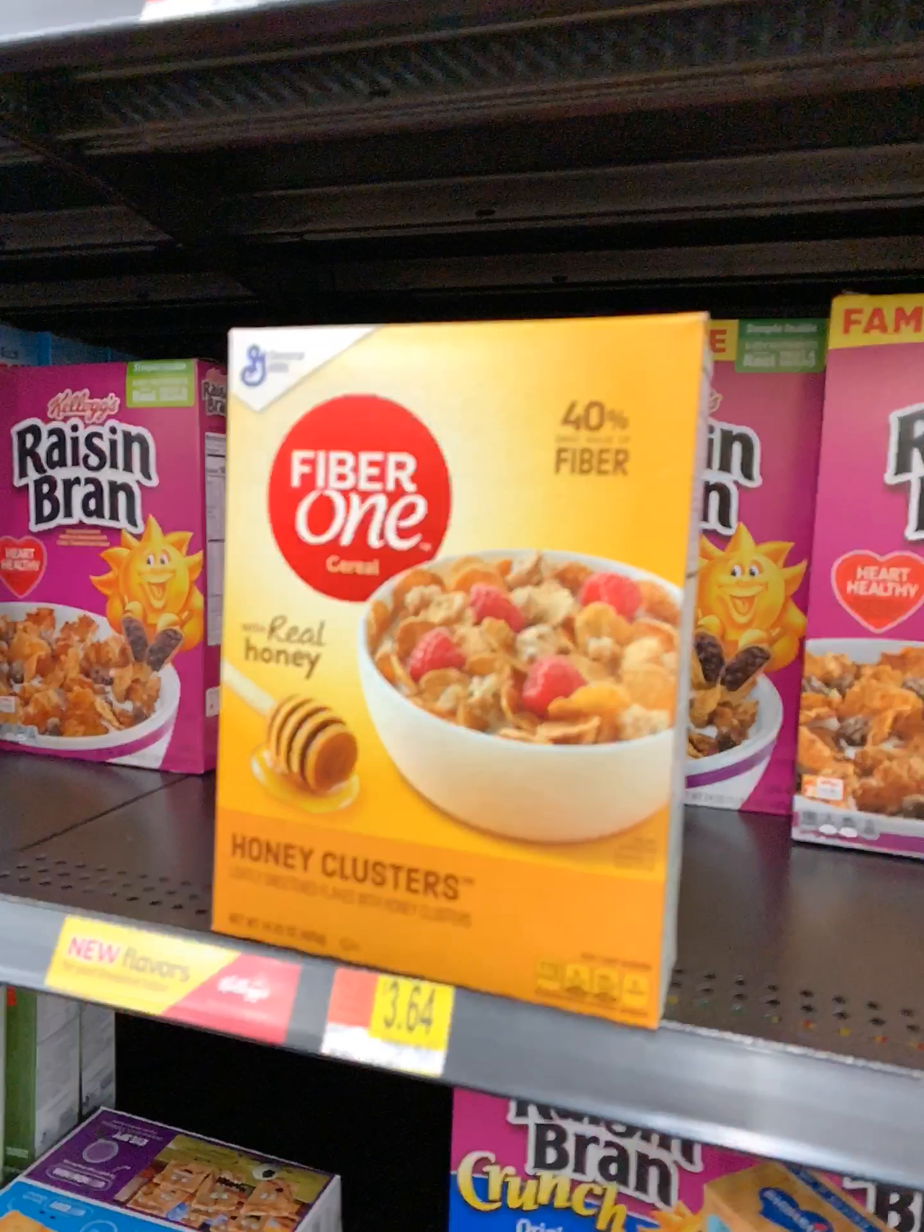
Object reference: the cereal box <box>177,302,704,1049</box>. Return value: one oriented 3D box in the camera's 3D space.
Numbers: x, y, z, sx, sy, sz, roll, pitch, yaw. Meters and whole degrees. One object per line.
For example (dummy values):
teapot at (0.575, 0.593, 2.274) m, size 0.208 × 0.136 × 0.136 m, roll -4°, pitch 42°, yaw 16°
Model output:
cereal box at (-0.015, 0.016, 0.381) m, size 0.200 × 0.260 × 0.050 m, roll 4°, pitch 5°, yaw 20°
